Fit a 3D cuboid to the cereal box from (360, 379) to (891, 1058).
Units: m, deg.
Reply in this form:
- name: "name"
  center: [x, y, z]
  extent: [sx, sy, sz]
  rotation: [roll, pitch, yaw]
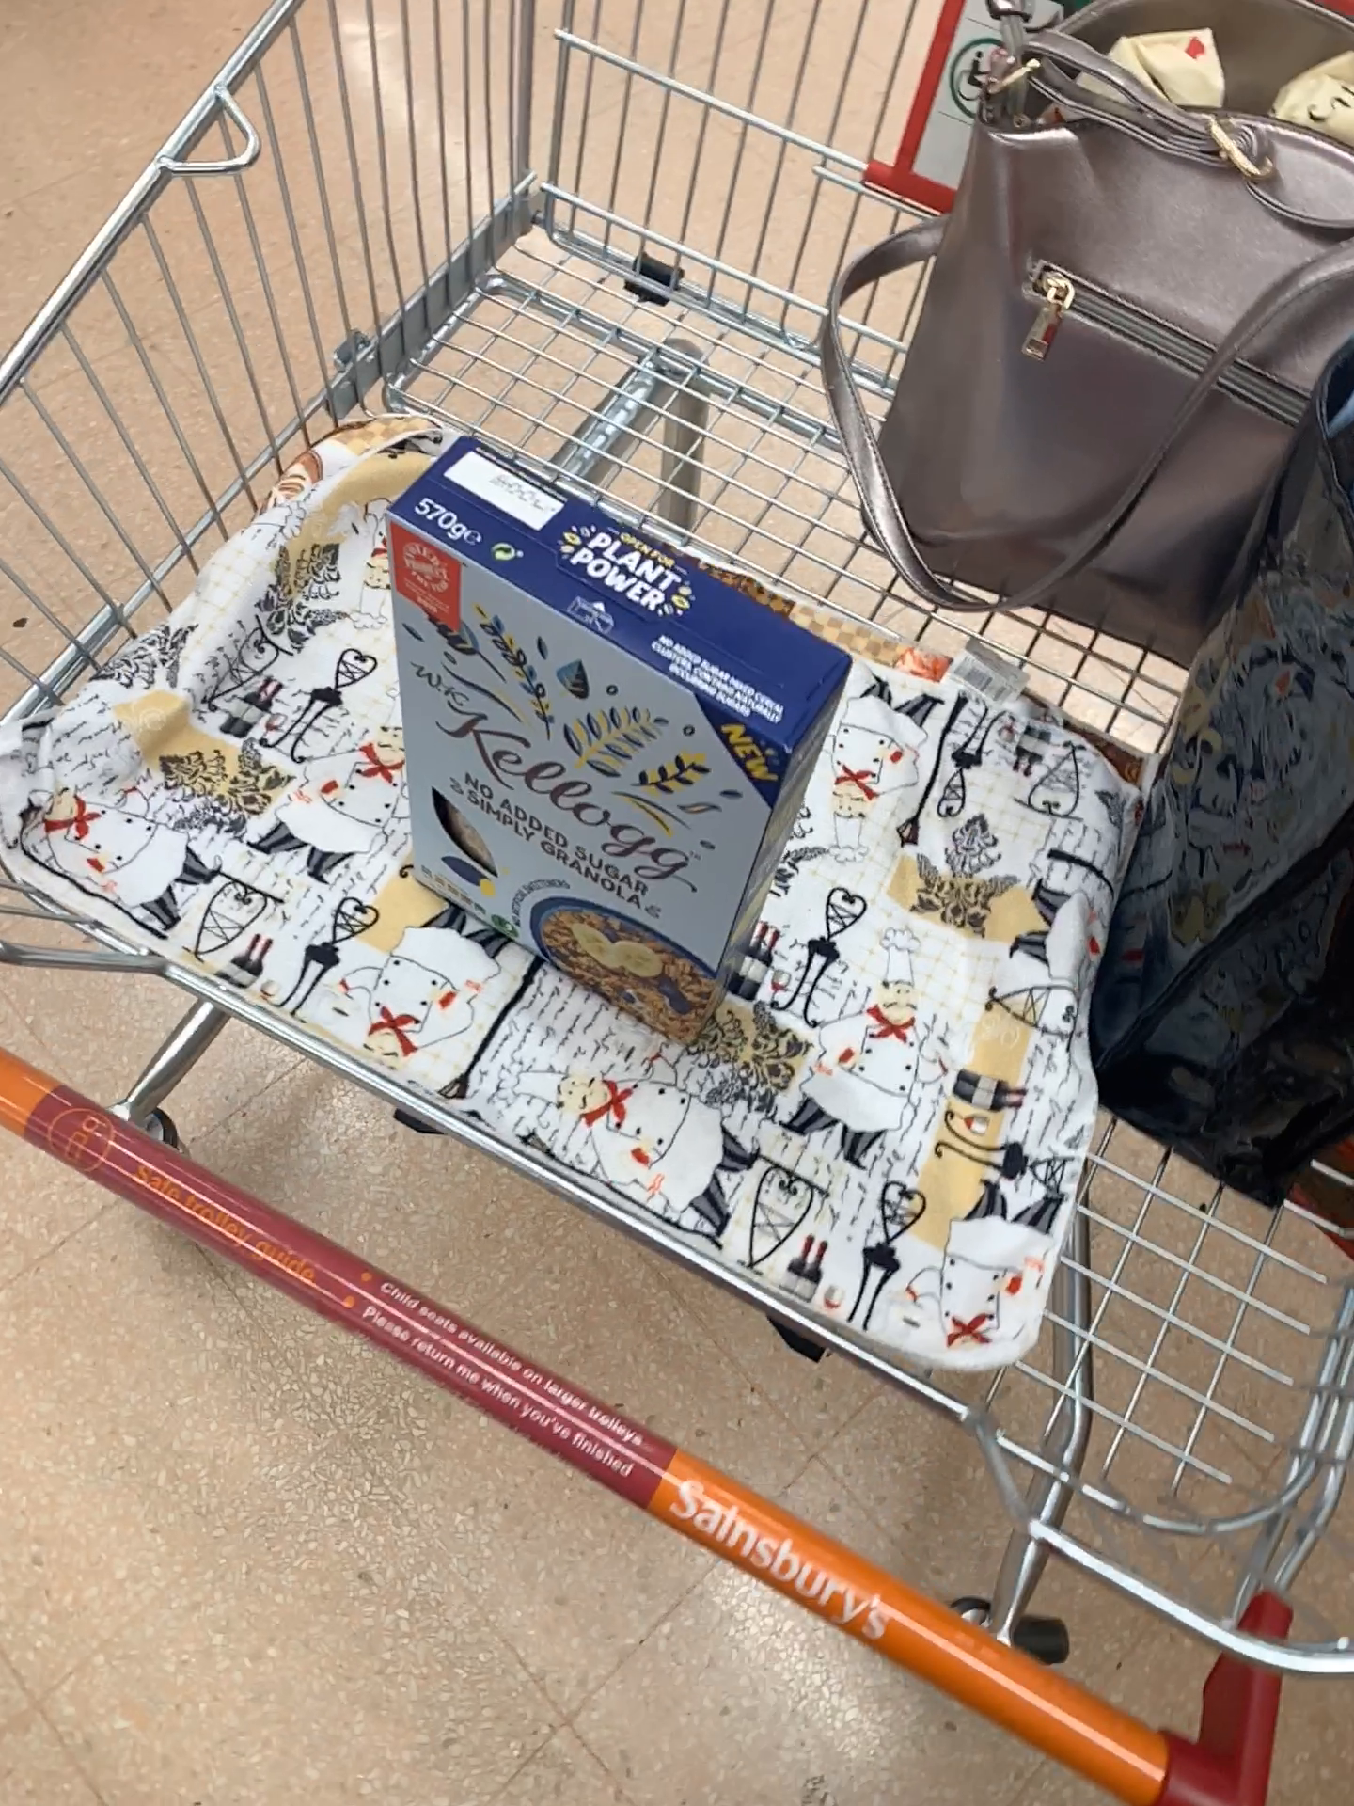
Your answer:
- name: "cereal box"
  center: [-0.035, -0.053, 0.544]
  extent: [0.170, 0.248, 0.050]
  rotation: [32, 60, 9]
